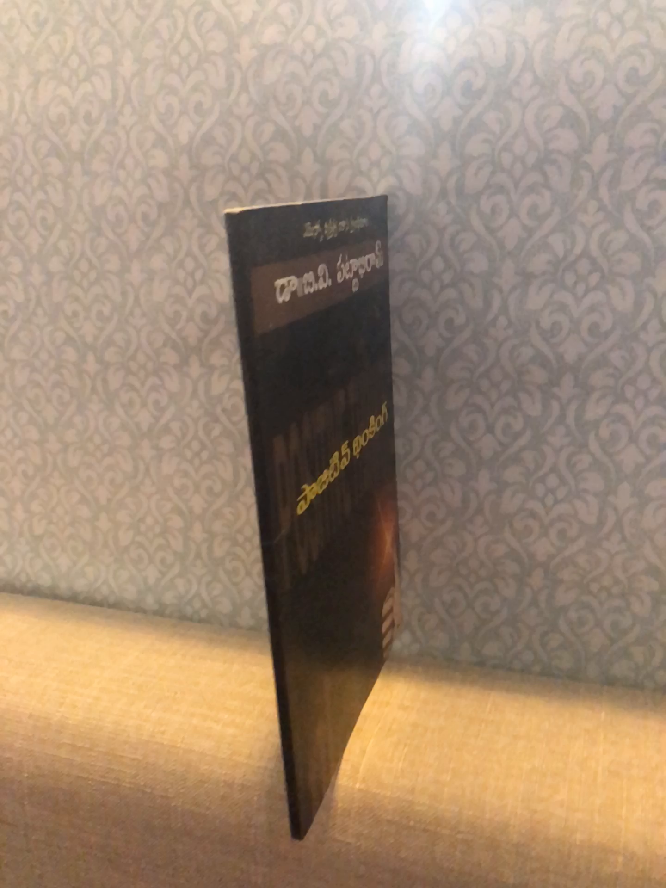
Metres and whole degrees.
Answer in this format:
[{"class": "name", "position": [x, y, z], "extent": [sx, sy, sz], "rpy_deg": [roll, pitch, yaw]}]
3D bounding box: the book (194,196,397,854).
[{"class": "book", "position": [-0.001, 0.012, 0.243], "extent": [0.011, 0.175, 0.127], "rpy_deg": [2, 17, 18]}]
